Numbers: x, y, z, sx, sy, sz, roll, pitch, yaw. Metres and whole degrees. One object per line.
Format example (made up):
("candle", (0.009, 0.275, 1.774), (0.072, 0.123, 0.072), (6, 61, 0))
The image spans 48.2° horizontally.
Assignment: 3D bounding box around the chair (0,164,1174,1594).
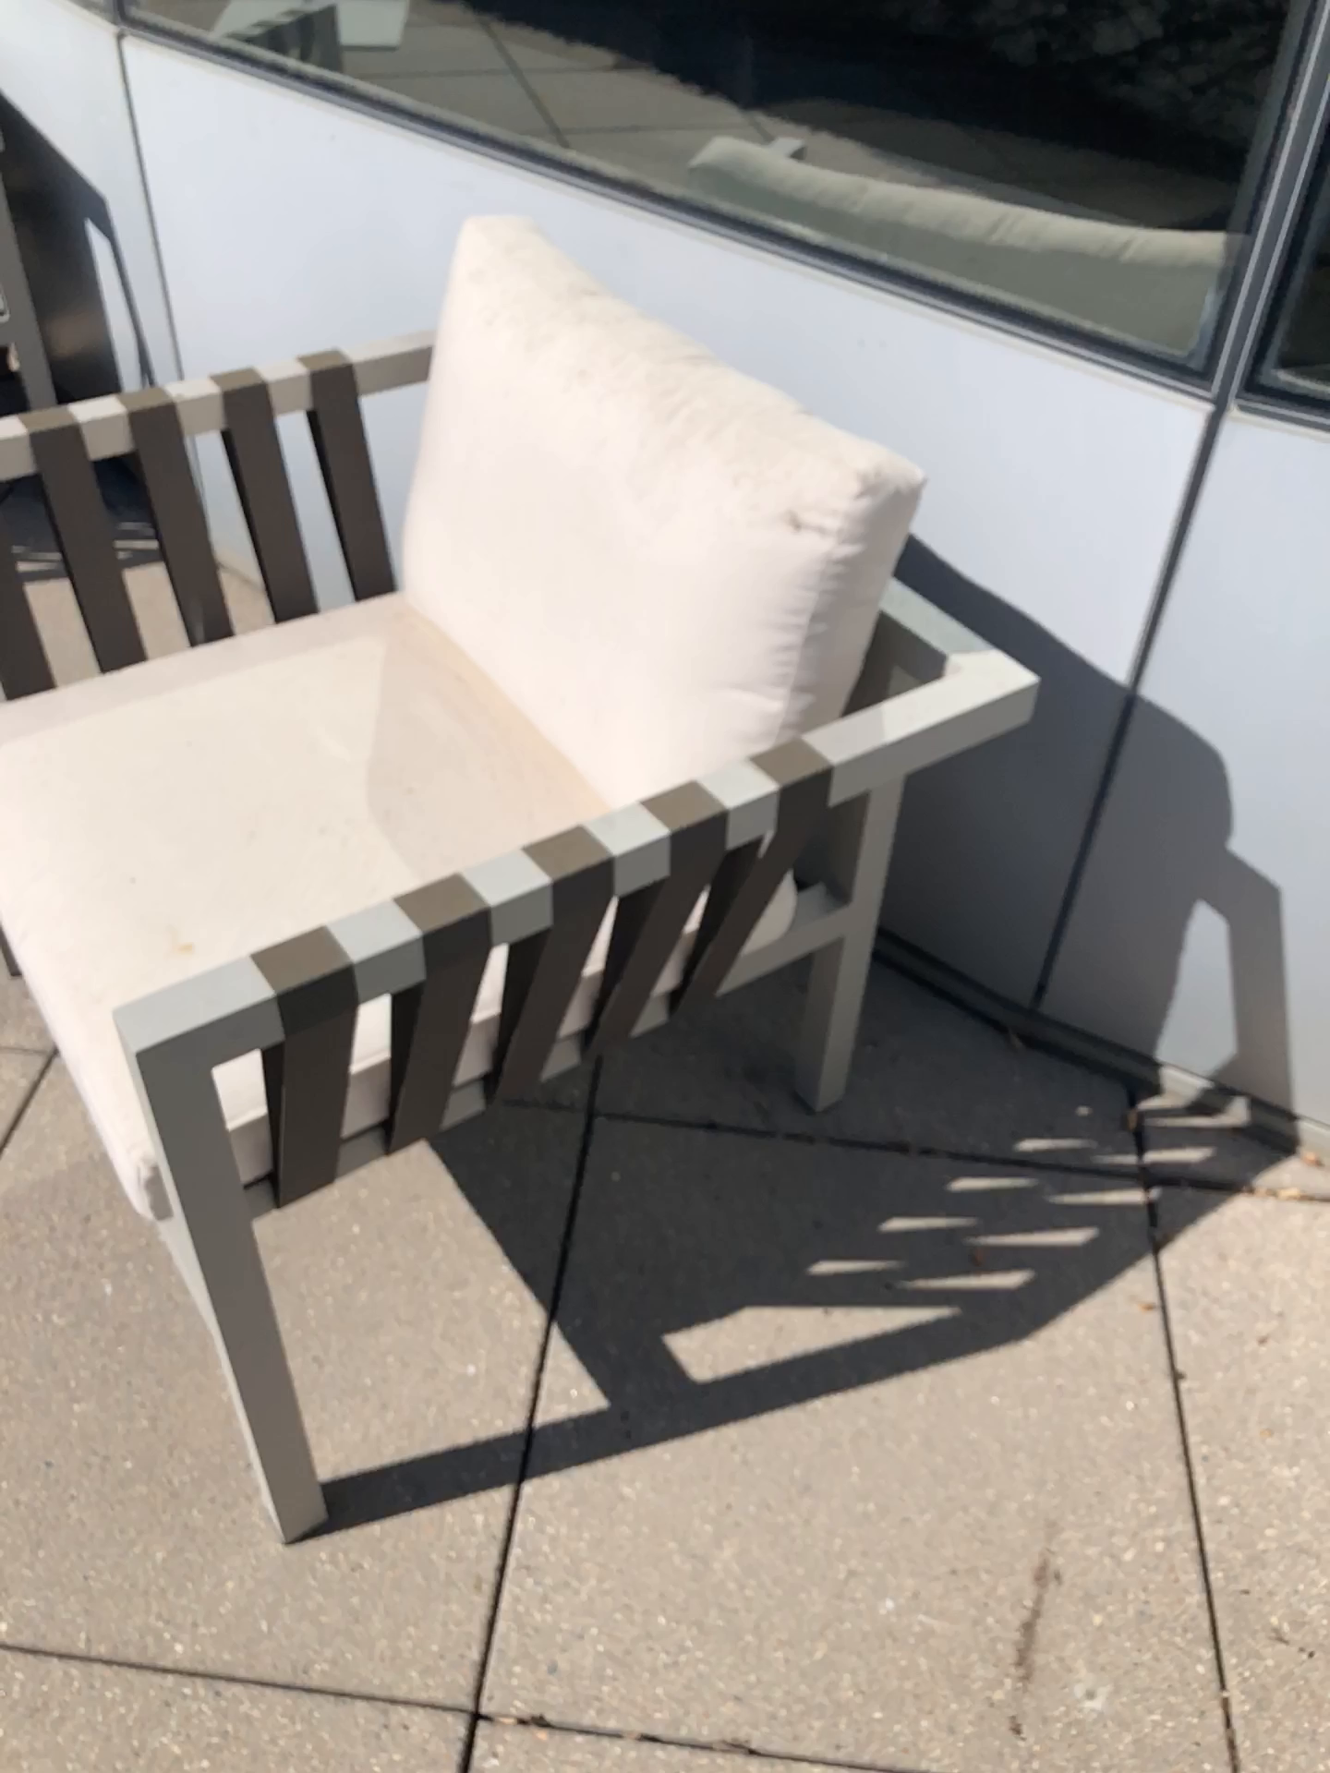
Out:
("chair", (-0.227, -0.098, 1.371), (0.781, 0.736, 0.873), (-23, 48, -26))
